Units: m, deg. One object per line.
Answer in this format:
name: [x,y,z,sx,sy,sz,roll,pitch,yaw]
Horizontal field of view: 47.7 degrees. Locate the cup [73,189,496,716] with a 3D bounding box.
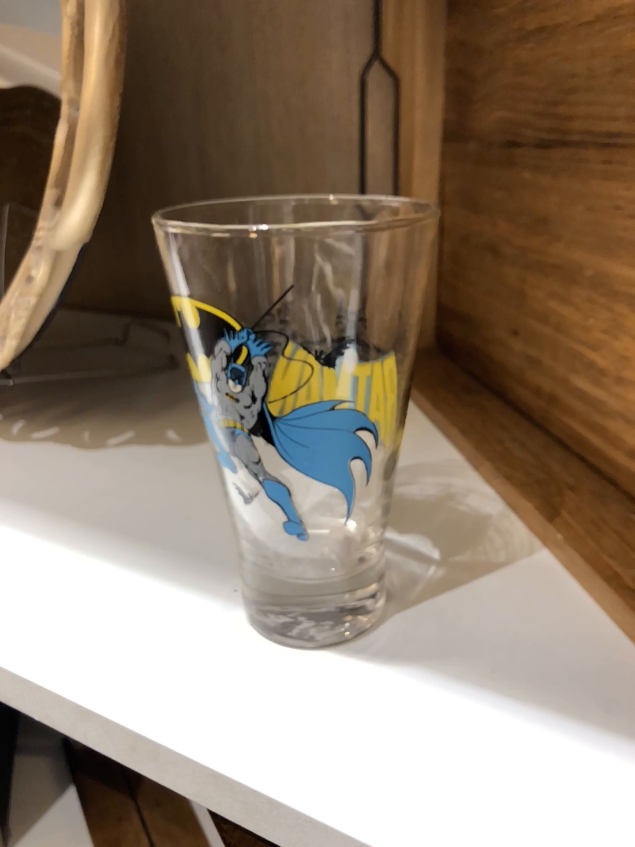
cup: [-0.007,-0.003,0.228,0.090,0.129,0.080,15,28,37]
